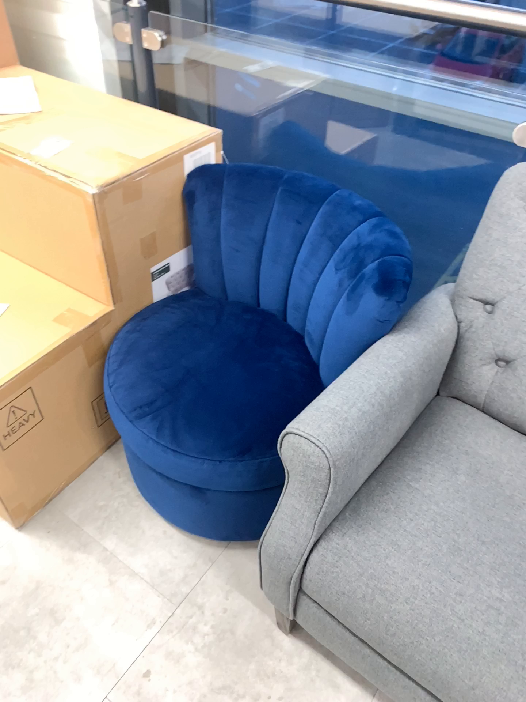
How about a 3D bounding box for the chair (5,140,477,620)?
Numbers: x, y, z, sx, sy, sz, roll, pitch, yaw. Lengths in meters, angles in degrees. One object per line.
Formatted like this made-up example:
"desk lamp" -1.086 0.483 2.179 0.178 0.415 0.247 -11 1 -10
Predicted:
"chair" -0.044 0.021 1.279 0.643 0.674 0.663 34 52 30
